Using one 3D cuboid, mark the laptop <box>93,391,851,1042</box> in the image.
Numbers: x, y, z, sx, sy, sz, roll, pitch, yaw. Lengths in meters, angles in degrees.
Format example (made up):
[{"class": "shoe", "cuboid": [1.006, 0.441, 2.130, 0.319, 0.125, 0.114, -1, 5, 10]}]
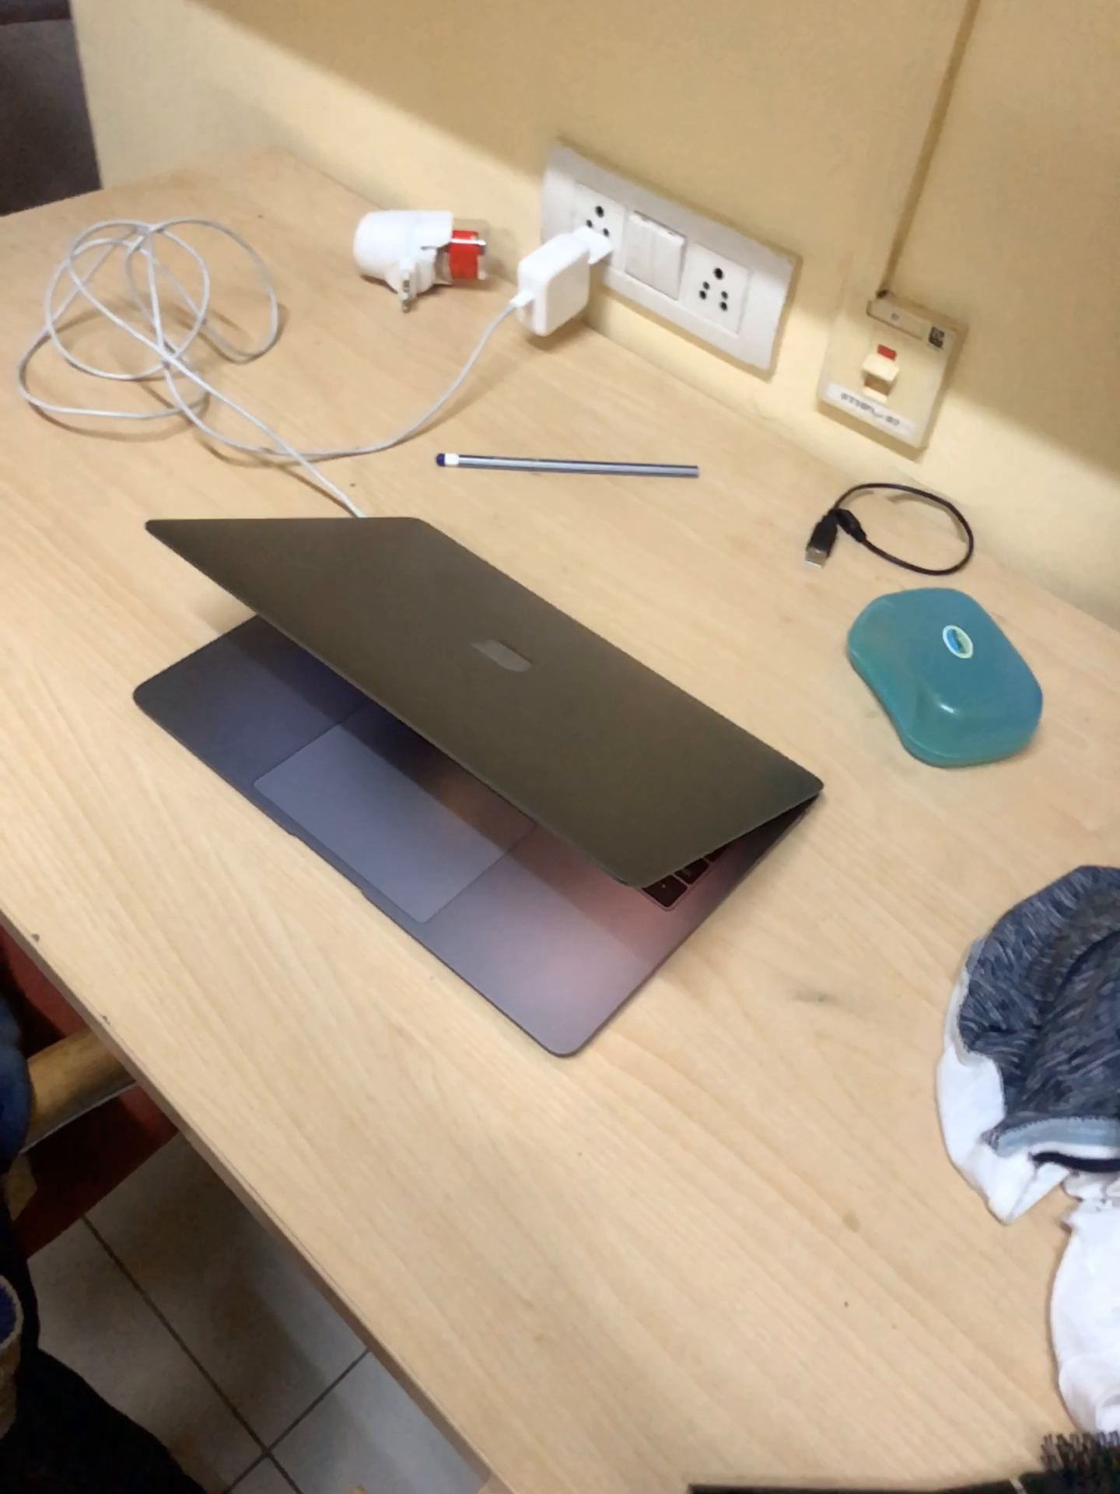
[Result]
[{"class": "laptop", "cuboid": [-0.047, -0.035, 0.601, 0.294, 0.094, 0.193, 35, 54, 23]}]
